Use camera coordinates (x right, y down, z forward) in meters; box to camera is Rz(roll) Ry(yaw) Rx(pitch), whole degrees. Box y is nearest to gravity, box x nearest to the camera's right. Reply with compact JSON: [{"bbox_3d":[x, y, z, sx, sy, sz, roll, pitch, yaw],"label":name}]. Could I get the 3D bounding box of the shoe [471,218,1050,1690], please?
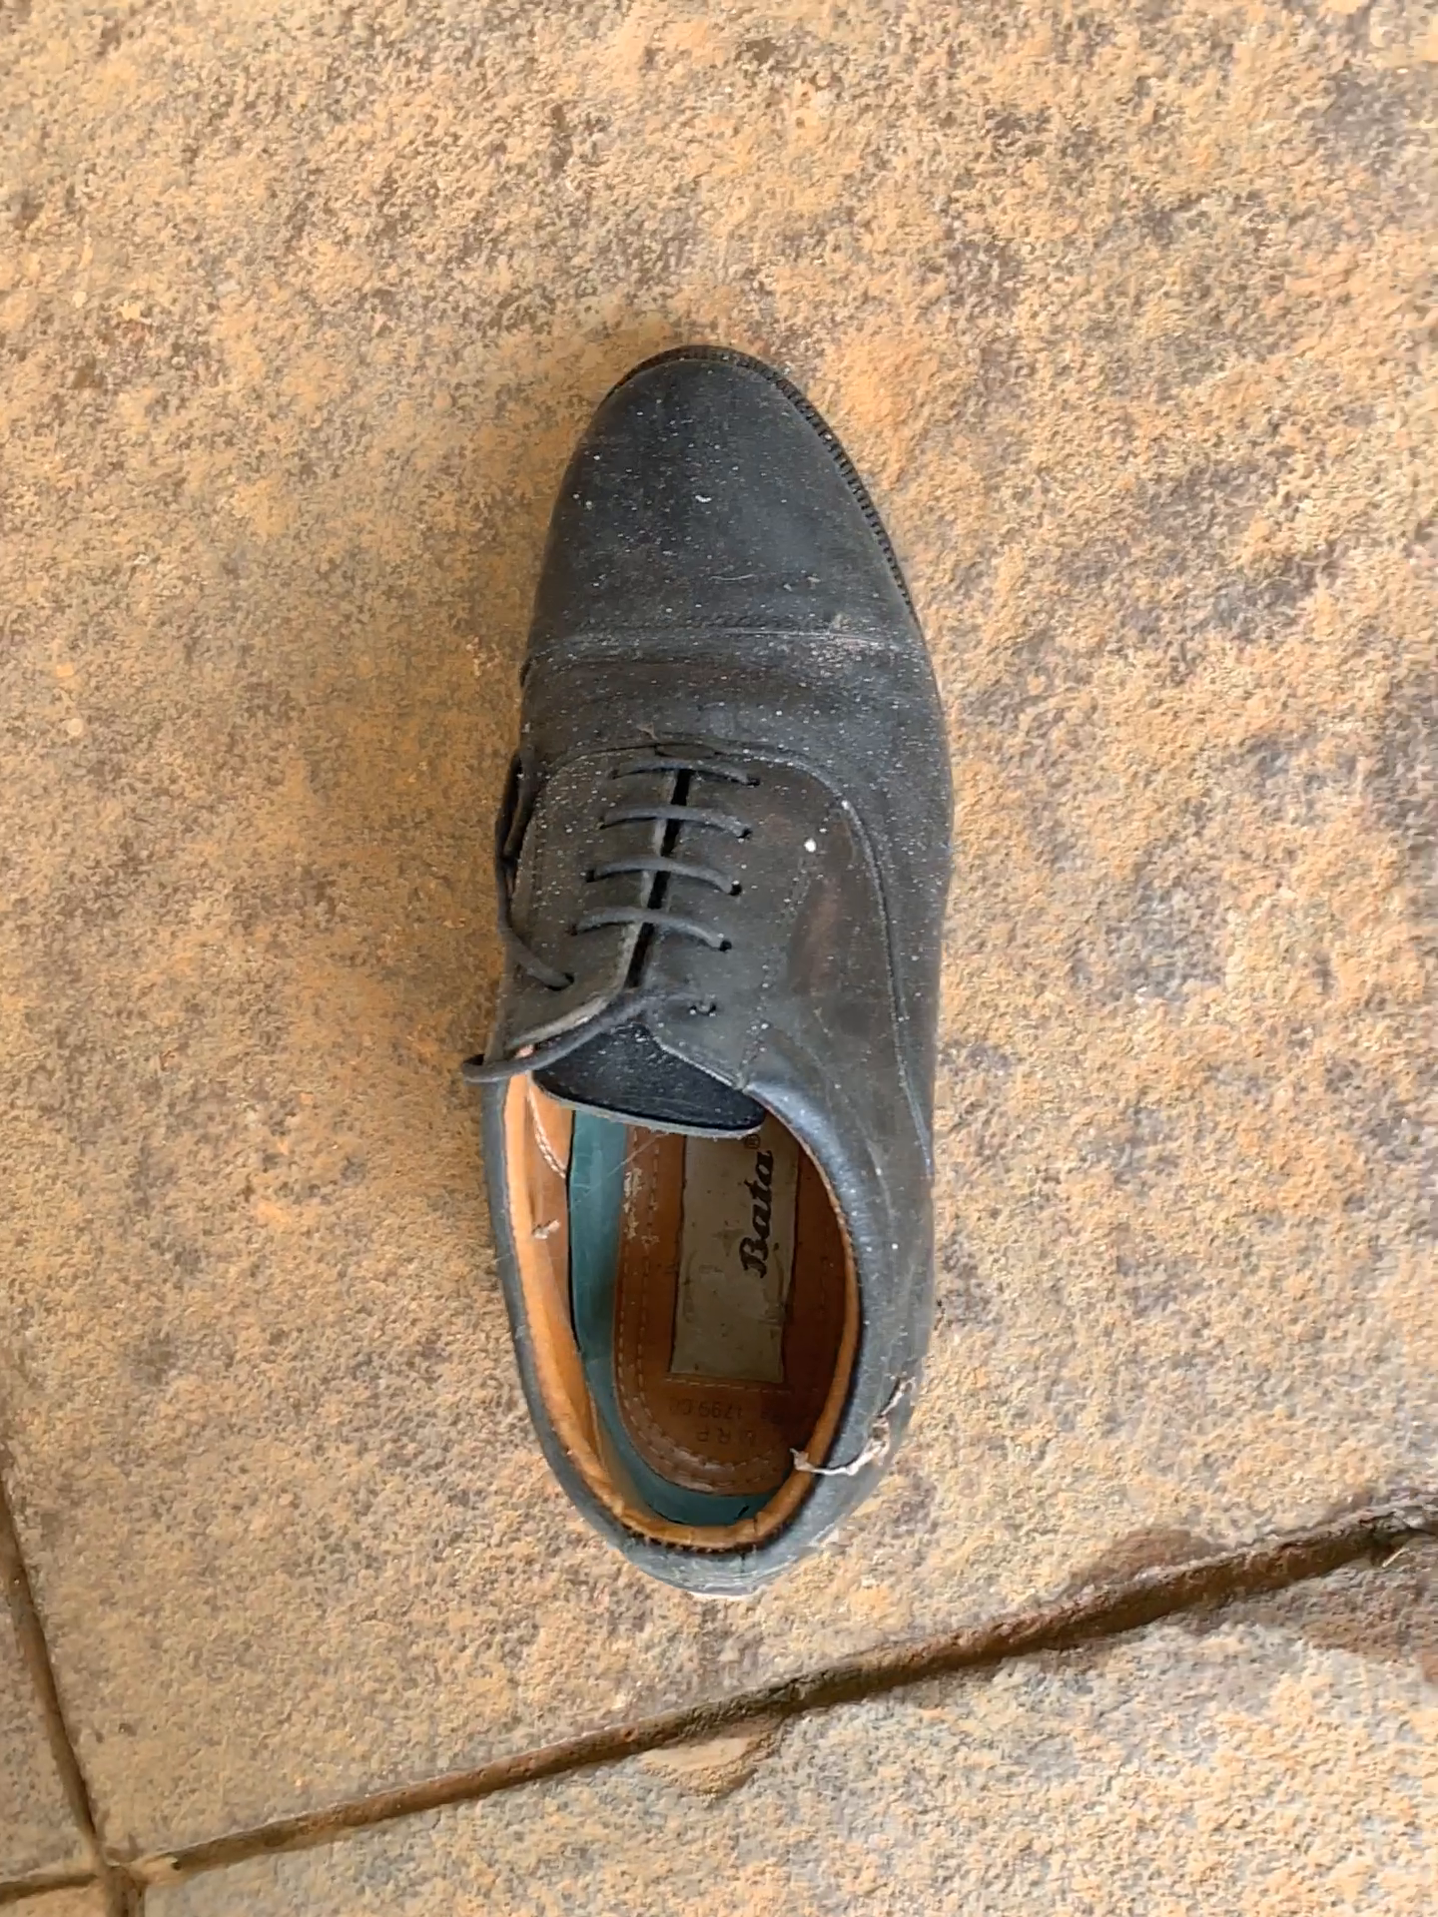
[{"bbox_3d":[0.014,0.000,0.324,0.100,0.090,0.270,-3,86,13],"label":"shoe"}]
